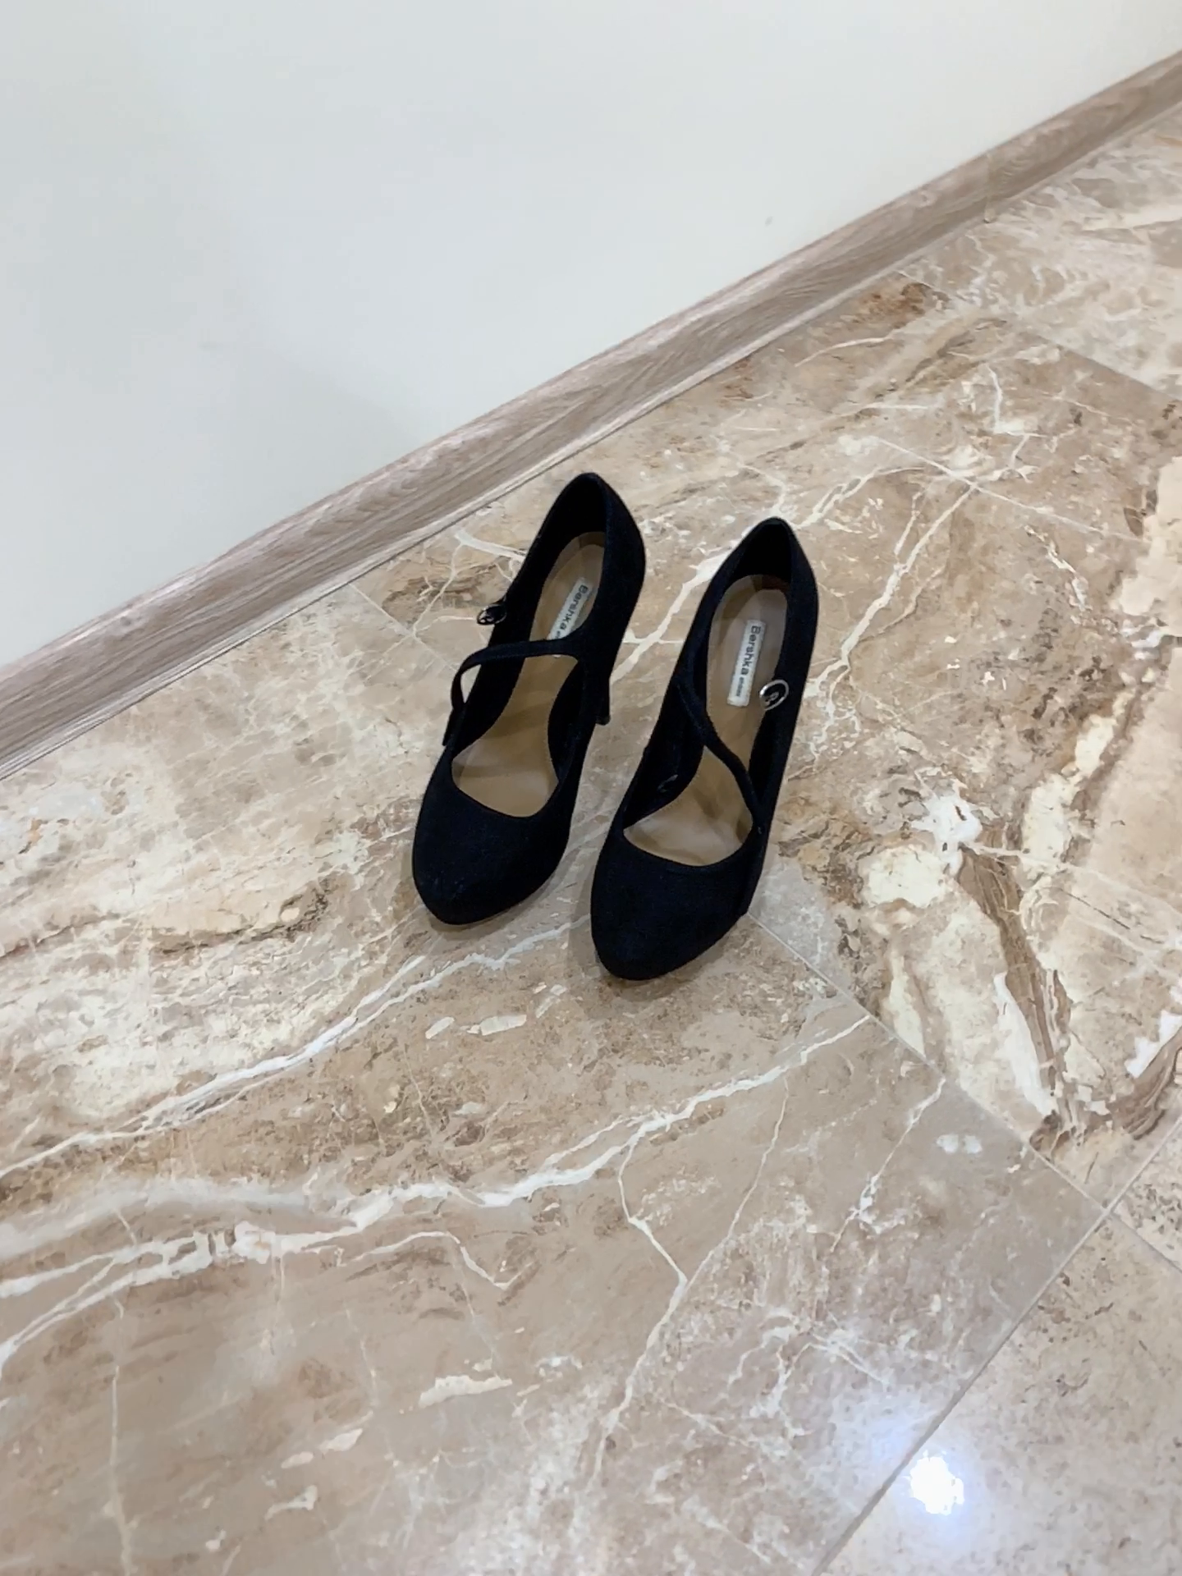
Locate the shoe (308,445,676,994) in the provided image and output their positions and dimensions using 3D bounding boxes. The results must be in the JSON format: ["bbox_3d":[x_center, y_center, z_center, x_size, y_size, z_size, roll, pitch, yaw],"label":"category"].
[{"bbox_3d":[-0.038,-0.037,0.624,0.089,0.169,0.211,17,53,14],"label":"shoe"}]

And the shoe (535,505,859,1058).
[{"bbox_3d":[0.055,-0.005,0.600,0.080,0.159,0.211,17,53,14],"label":"shoe"}]
